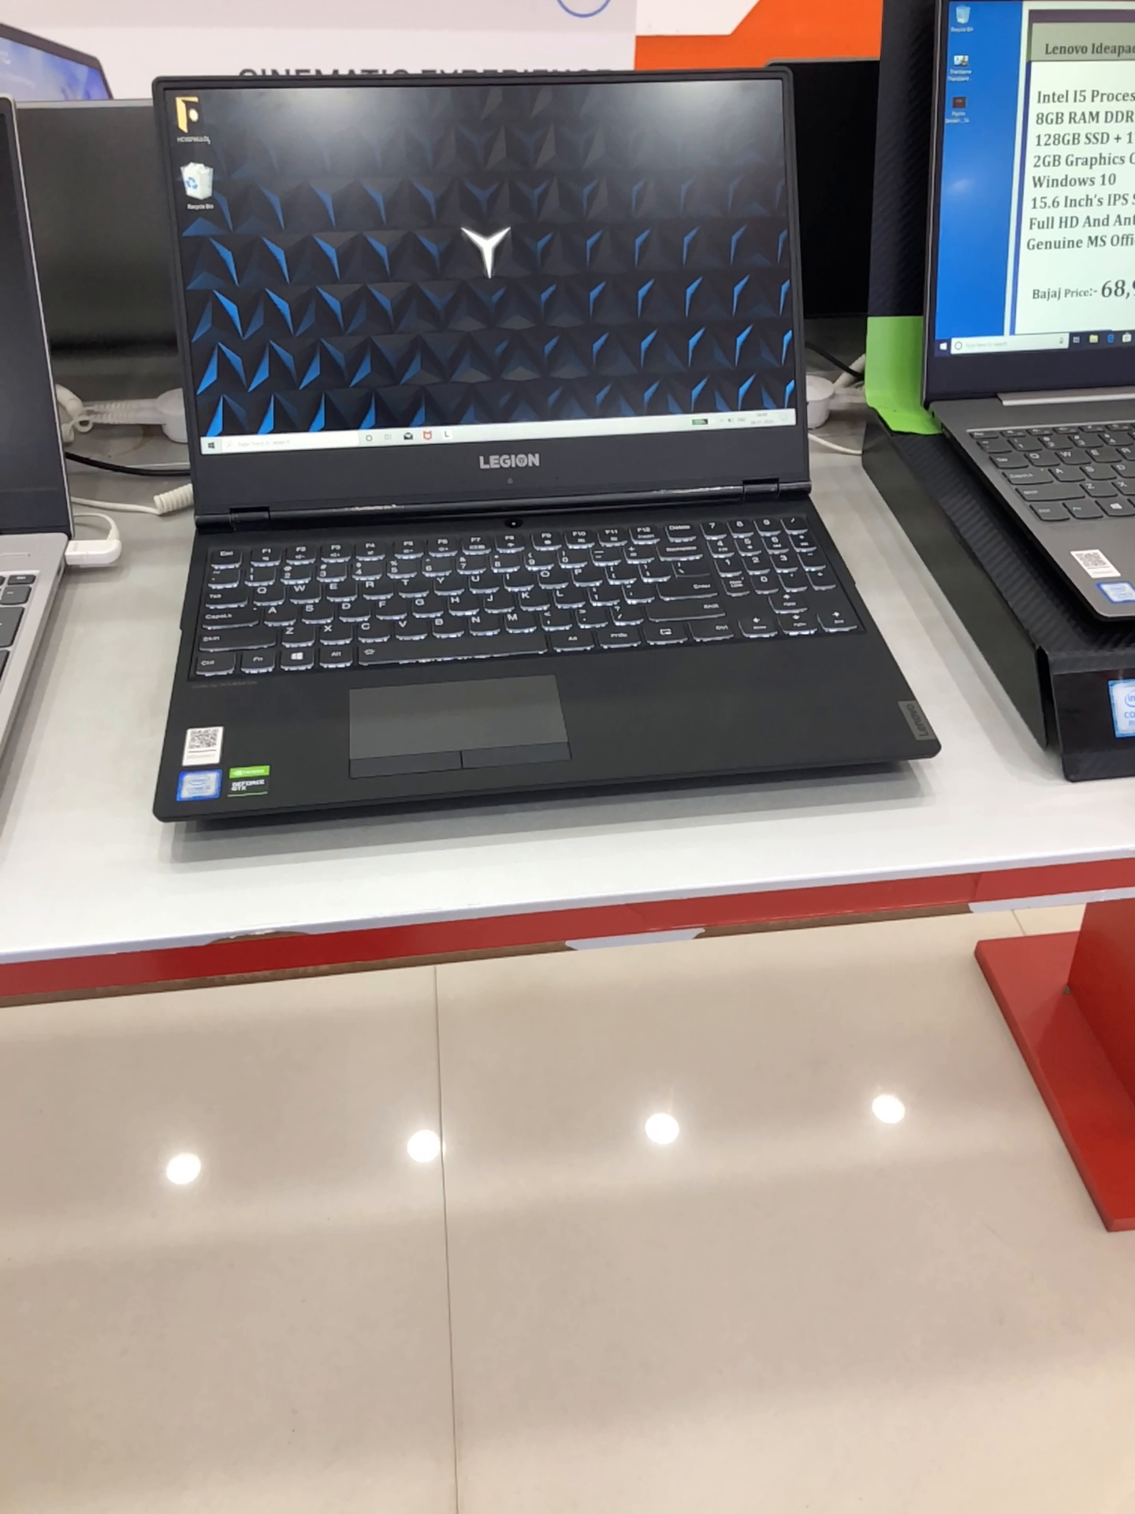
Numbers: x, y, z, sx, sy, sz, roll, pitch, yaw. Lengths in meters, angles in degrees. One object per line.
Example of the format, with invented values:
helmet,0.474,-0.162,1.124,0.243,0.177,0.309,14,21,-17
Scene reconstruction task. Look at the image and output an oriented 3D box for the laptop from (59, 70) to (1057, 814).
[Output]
laptop,-0.021,-0.178,0.604,0.334,0.191,0.349,-4,42,-7
